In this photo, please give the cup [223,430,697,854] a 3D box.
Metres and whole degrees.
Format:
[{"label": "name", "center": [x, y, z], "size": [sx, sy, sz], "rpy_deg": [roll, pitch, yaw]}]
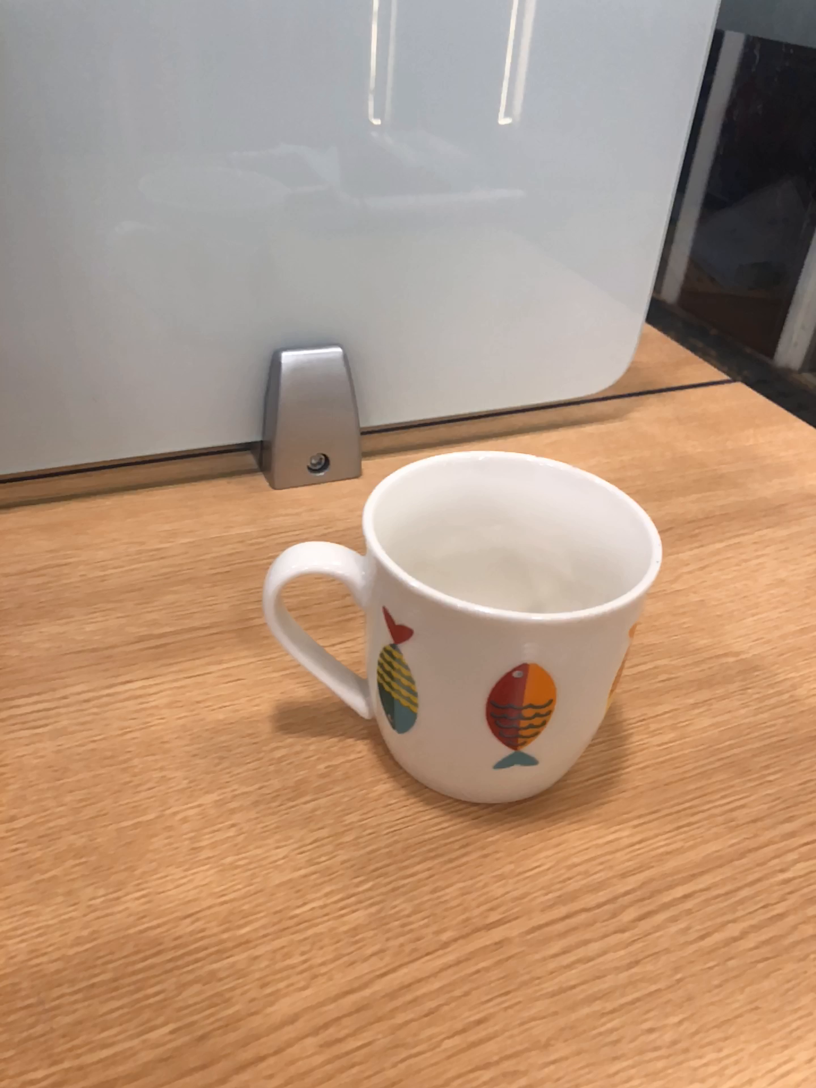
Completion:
[{"label": "cup", "center": [0.007, 0.027, 0.266], "size": [0.110, 0.090, 0.080], "rpy_deg": [1, 35, -7]}]
